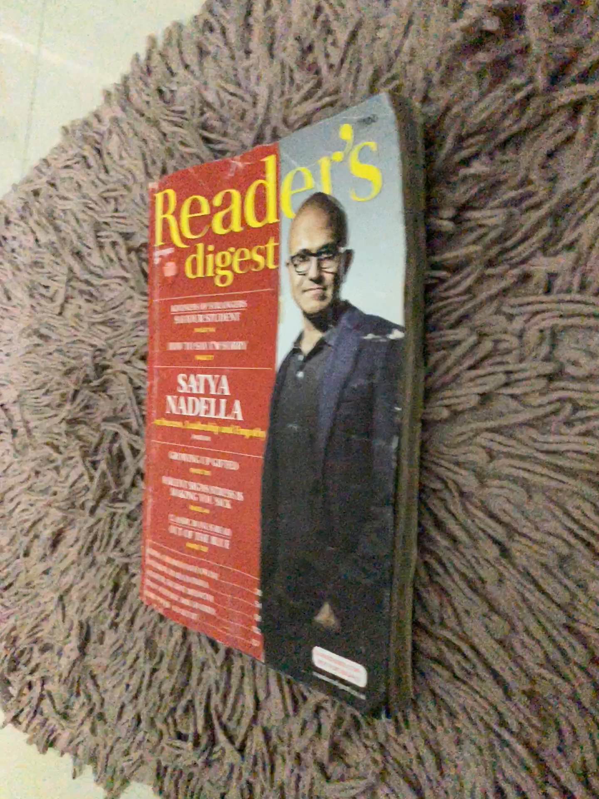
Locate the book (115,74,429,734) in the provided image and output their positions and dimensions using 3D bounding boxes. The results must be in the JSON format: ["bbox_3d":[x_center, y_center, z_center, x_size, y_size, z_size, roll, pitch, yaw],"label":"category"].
[{"bbox_3d":[-0.019,0.000,0.221,0.131,0.020,0.180,2,91,42],"label":"book"}]
